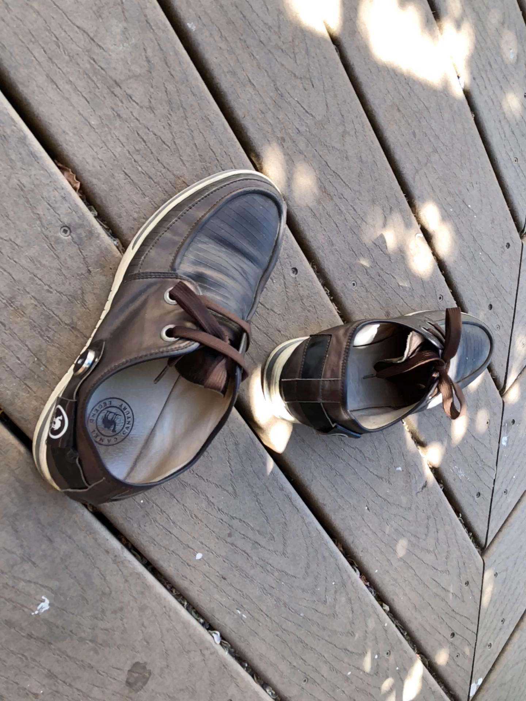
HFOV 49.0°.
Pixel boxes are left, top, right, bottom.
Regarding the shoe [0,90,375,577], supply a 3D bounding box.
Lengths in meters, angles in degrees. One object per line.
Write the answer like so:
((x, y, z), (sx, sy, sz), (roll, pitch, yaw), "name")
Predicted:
((-0.054, -0.018, 0.421), (0.110, 0.116, 0.302), (35, 75, -31), "shoe")

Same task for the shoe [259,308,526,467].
((0.156, 0.019, 0.565), (0.305, 0.116, 0.110), (-5, 97, -34), "shoe")
